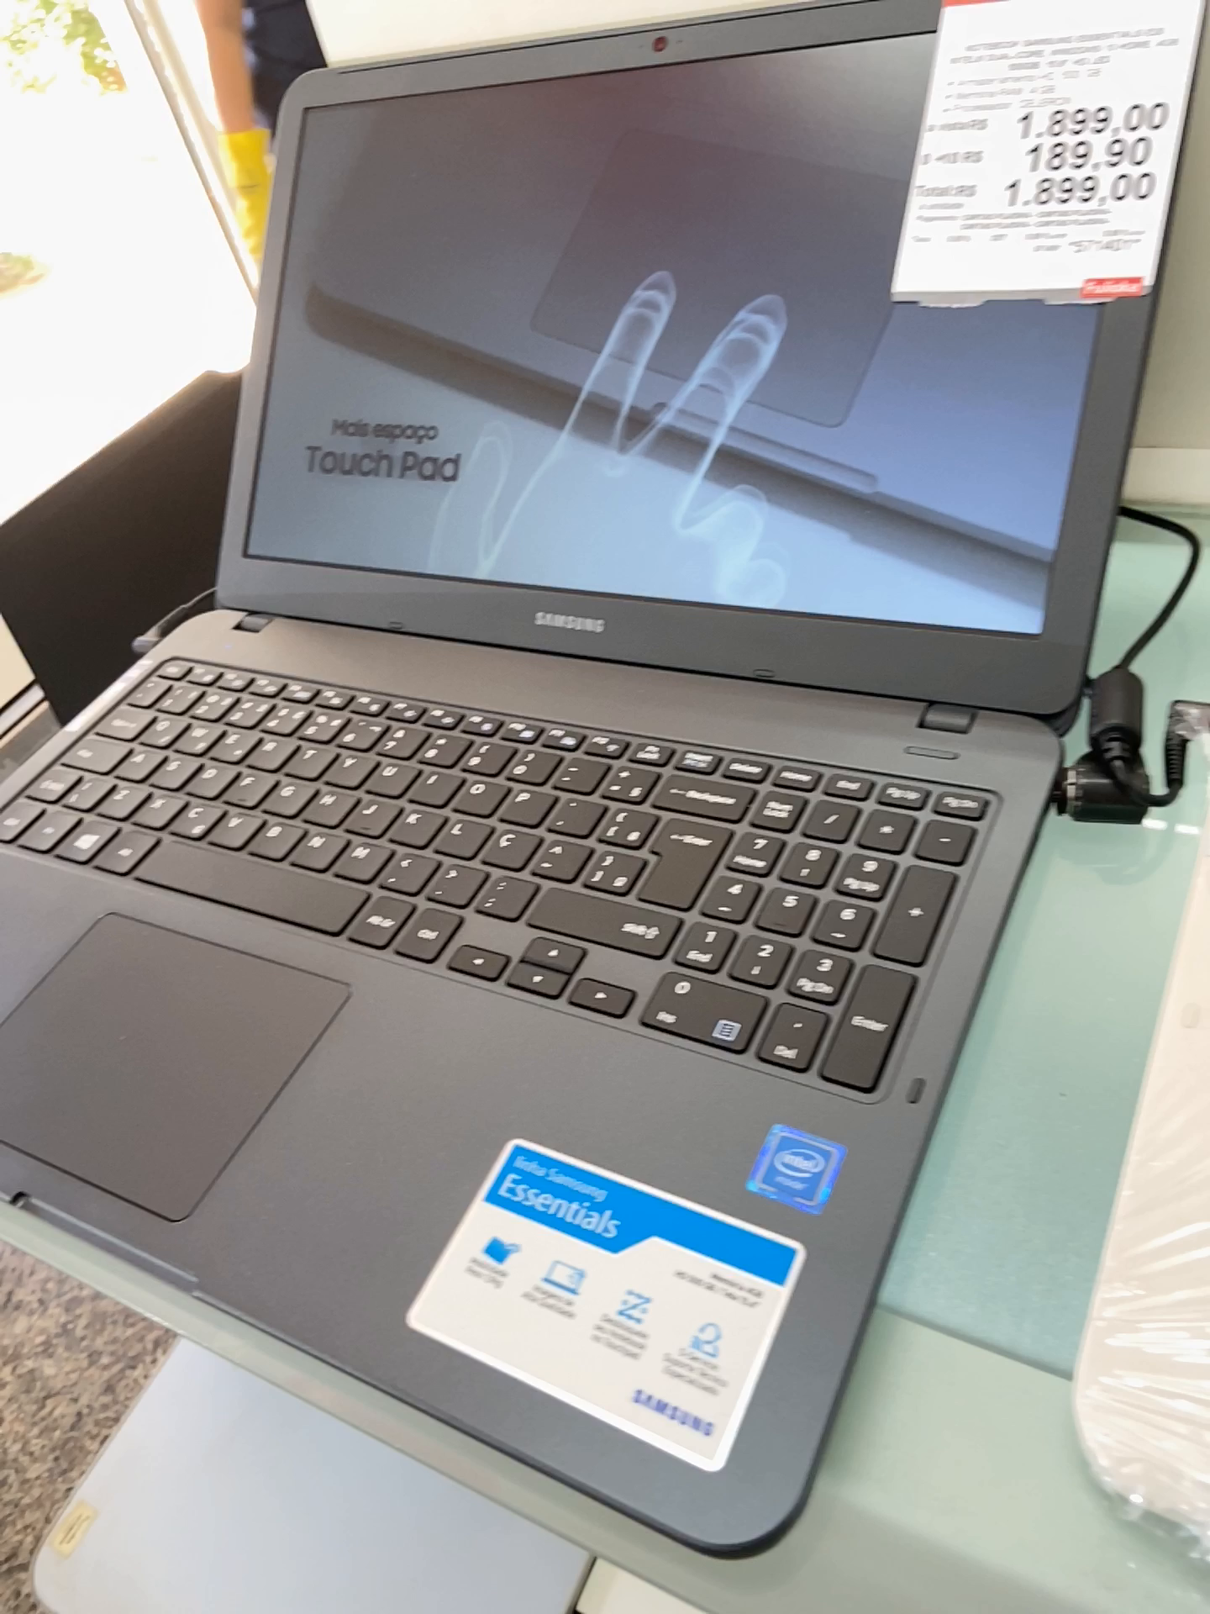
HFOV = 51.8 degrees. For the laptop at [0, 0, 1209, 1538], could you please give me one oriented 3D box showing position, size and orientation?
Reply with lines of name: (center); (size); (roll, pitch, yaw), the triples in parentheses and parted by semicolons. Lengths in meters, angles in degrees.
laptop: (-0.054, -0.088, 0.390); (0.367, 0.157, 0.413); (10, 49, 29)
